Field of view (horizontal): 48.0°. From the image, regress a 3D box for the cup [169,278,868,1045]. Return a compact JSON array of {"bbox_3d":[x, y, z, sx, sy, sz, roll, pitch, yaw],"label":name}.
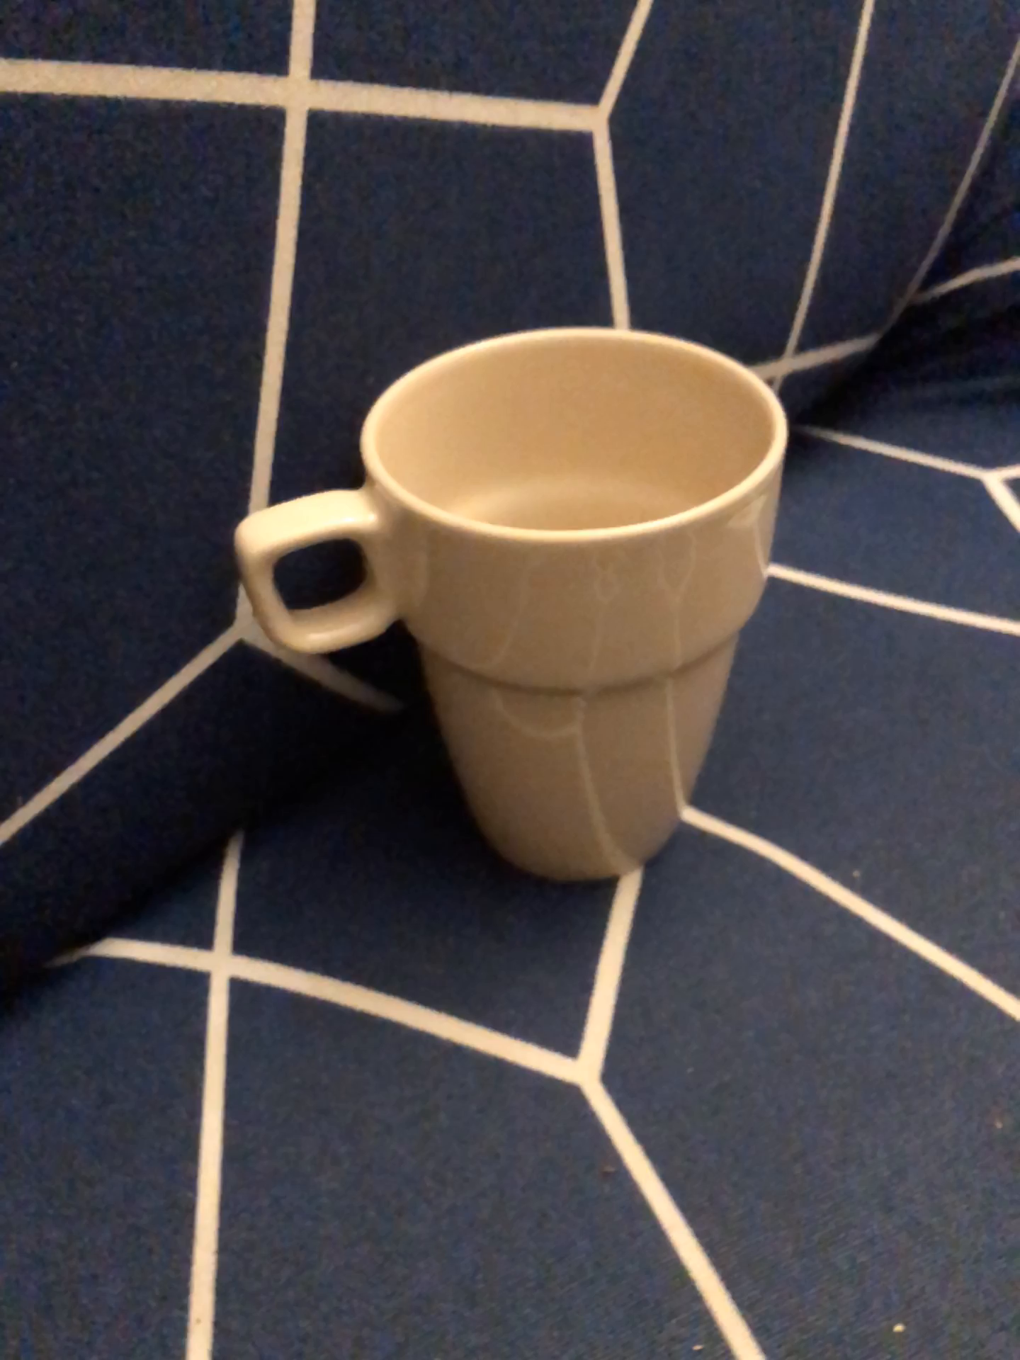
[{"bbox_3d":[-0.001,-0.008,0.247,0.104,0.109,0.090,-17,41,-14],"label":"cup"}]
